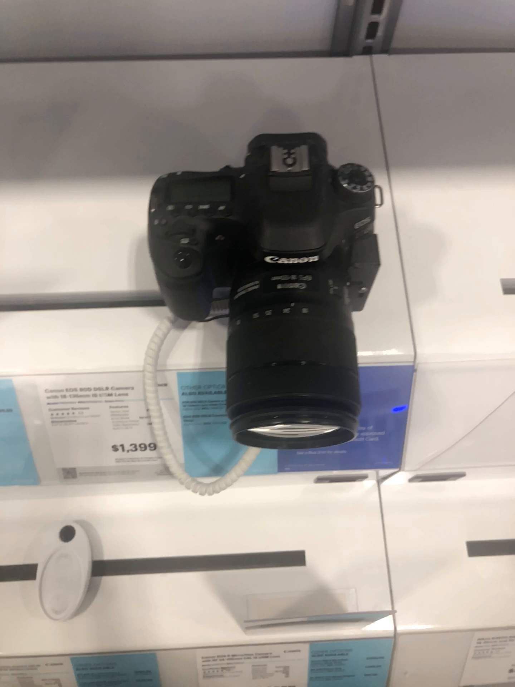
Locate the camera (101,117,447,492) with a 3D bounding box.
[{"bbox_3d":[0.002,-0.017,0.331,0.150,0.110,0.180,-3,69,-2],"label":"camera"}]
